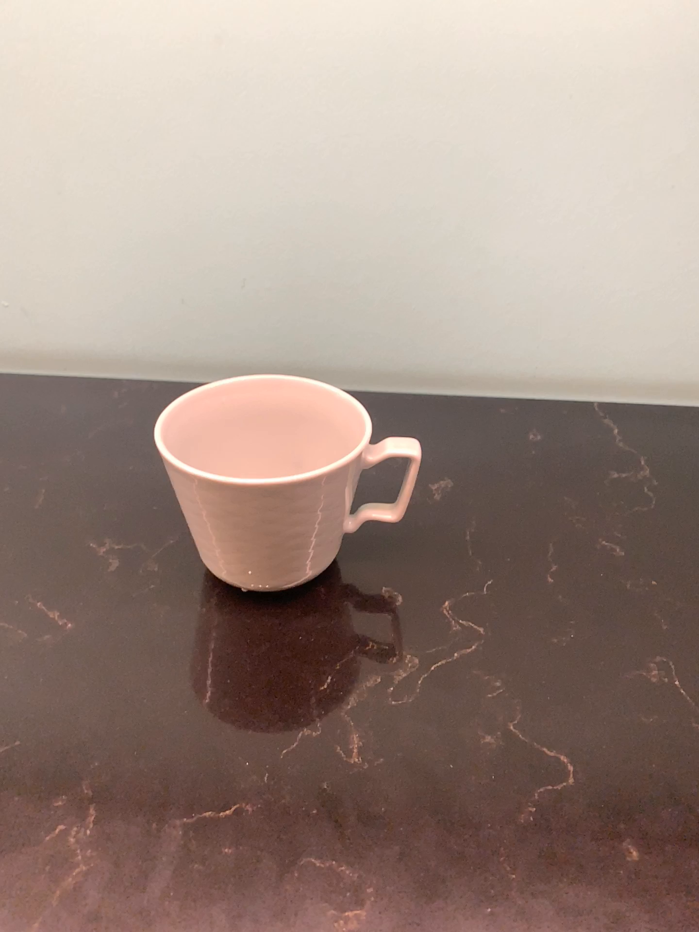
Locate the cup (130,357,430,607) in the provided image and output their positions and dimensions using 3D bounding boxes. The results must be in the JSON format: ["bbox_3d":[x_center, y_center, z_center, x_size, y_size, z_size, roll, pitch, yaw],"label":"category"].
[{"bbox_3d":[-0.028,0.004,0.374,0.130,0.080,0.100,3,34,2],"label":"cup"}]
